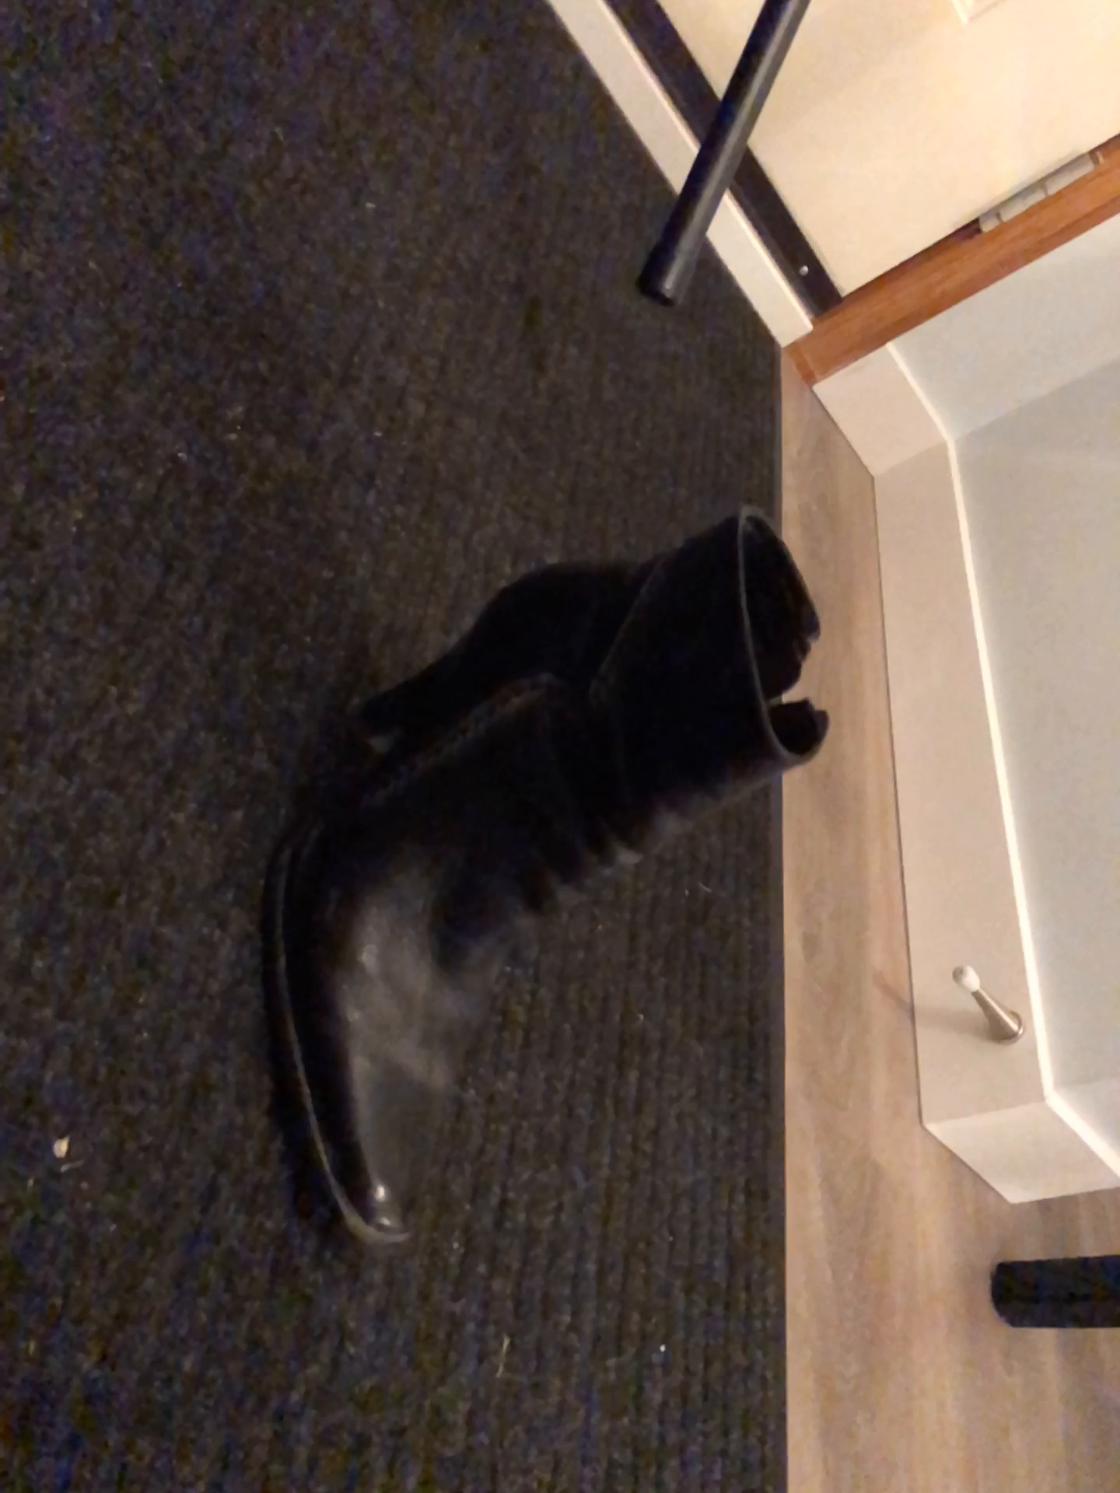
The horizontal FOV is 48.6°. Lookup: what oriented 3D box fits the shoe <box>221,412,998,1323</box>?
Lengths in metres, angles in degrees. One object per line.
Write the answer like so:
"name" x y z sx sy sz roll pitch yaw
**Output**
"shoe" 0.005 0.047 0.421 0.090 0.209 0.240 35 42 -41
